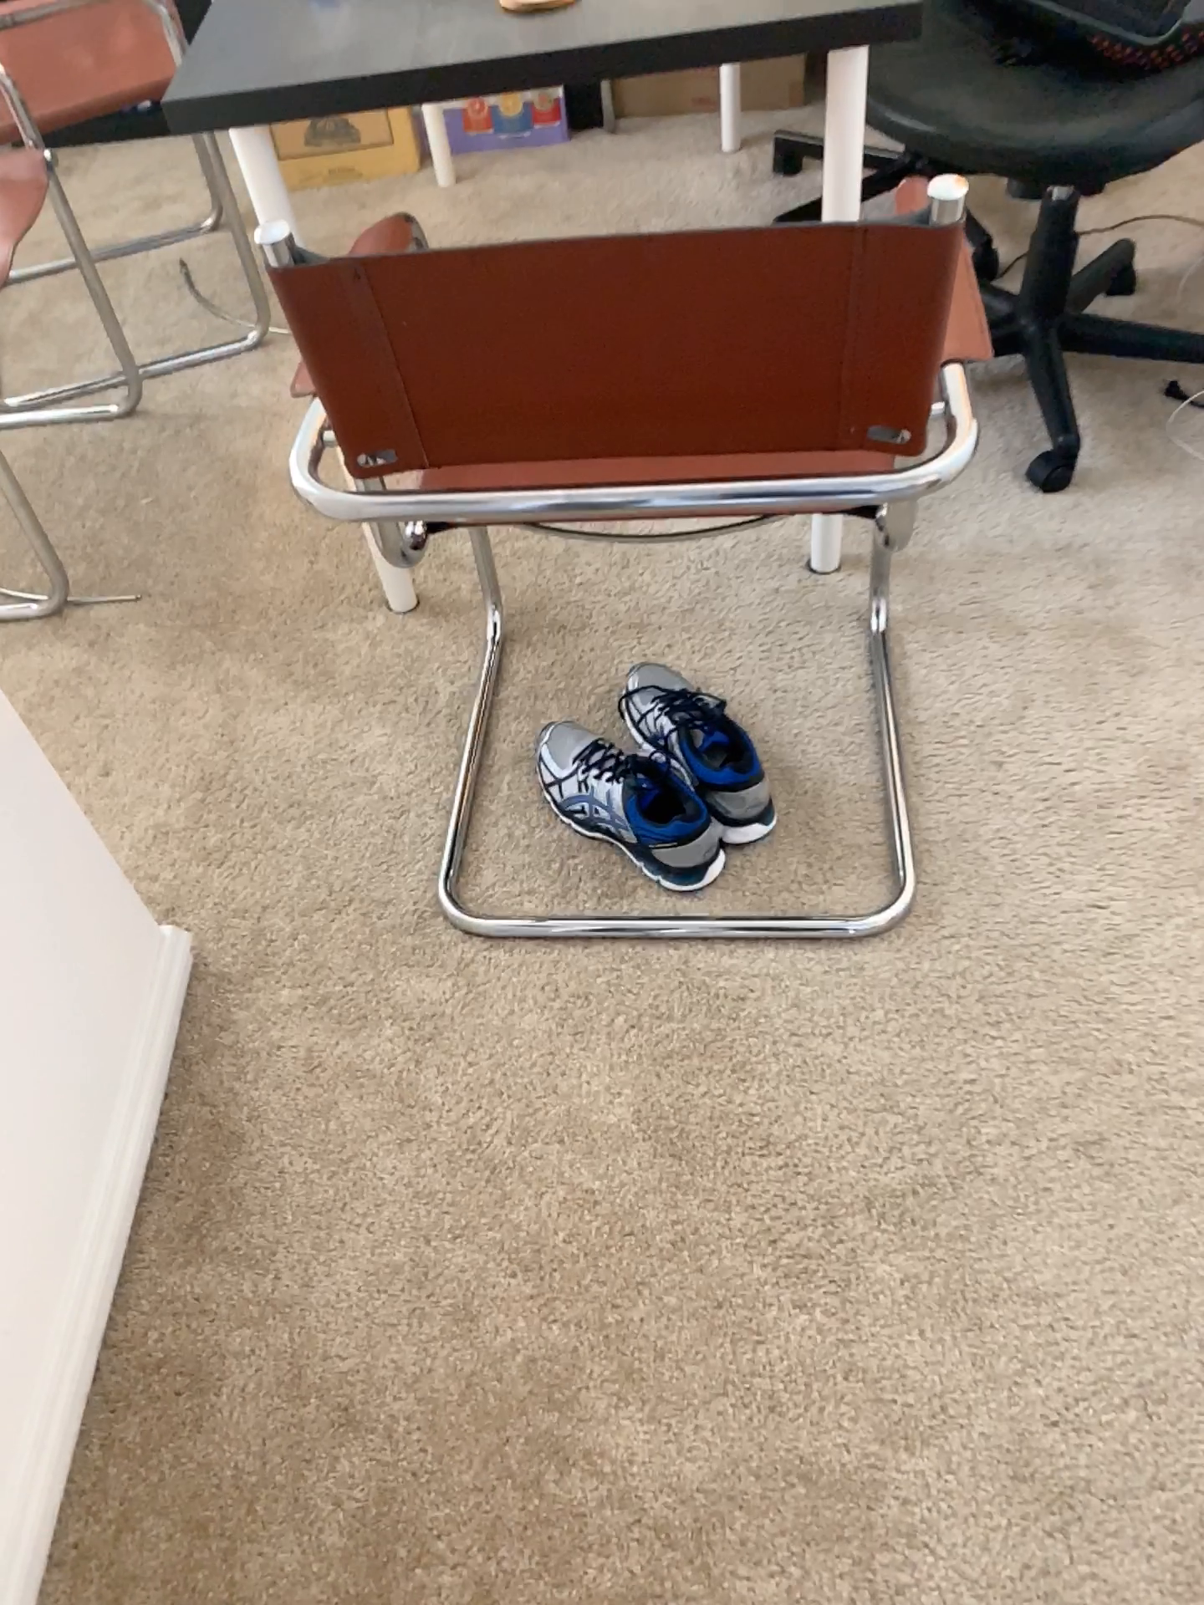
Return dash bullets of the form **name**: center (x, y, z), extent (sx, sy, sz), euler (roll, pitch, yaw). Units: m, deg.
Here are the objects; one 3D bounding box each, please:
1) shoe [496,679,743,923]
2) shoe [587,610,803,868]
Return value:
- **shoe**: center (0.020, -0.009, 1.524), extent (0.130, 0.099, 0.311), euler (-35, 54, -21)
- **shoe**: center (0.108, -0.084, 1.489), extent (0.130, 0.099, 0.312), euler (-22, 51, -11)
